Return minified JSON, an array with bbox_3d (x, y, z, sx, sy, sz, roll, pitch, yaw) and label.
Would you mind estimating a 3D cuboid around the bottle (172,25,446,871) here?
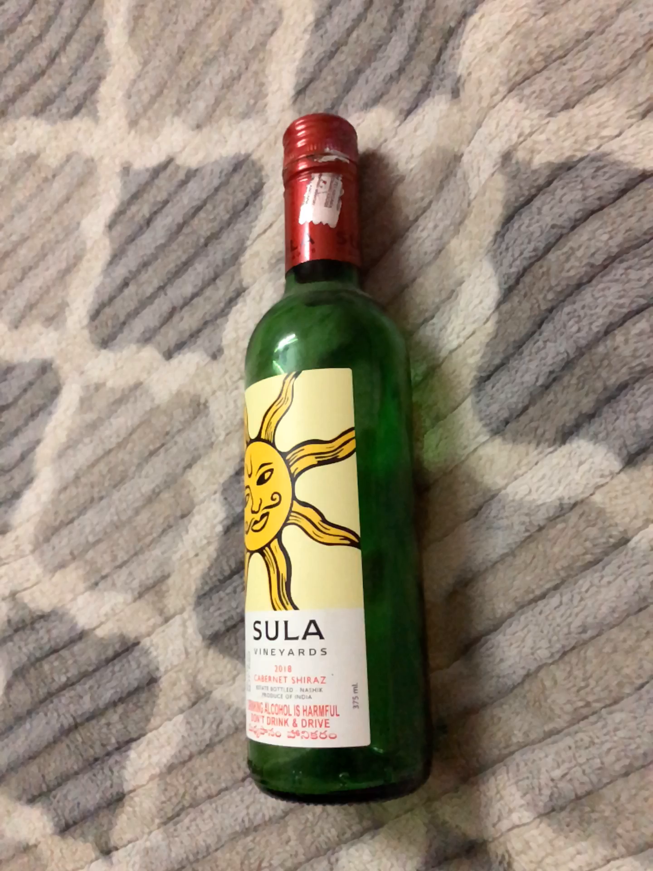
[{"bbox_3d":[-0.009,0.000,0.231,0.060,0.050,0.230,-10,78,35],"label":"bottle"}]
